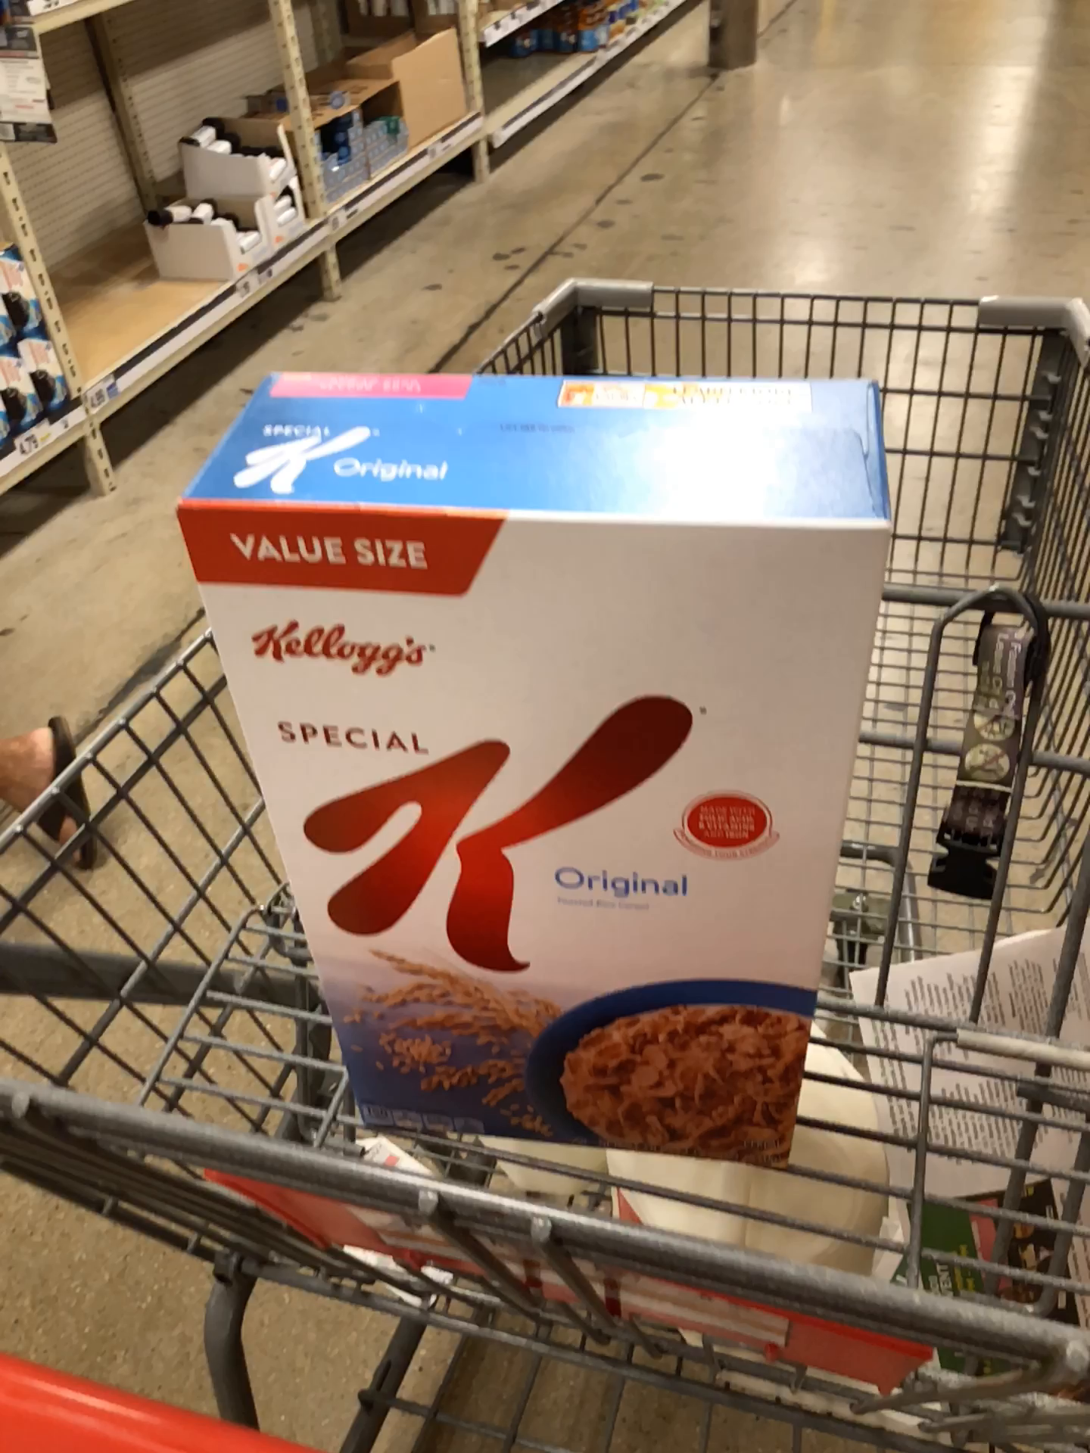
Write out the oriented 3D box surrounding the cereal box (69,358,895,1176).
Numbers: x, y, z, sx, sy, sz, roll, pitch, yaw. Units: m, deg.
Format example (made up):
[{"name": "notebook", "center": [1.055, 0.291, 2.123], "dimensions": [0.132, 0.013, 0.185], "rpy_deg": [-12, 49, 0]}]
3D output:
[{"name": "cereal box", "center": [-0.004, 0.035, 0.461], "dimensions": [0.230, 0.329, 0.080], "rpy_deg": [5, 43, 12]}]
